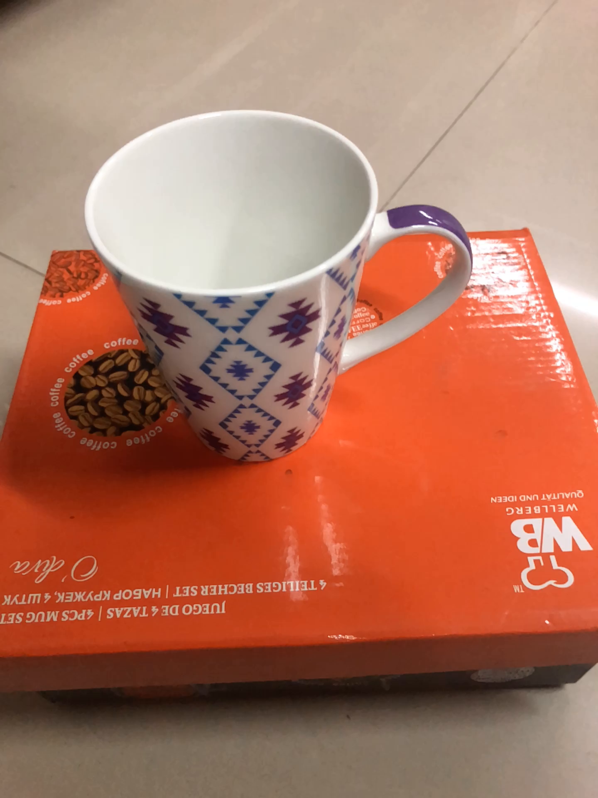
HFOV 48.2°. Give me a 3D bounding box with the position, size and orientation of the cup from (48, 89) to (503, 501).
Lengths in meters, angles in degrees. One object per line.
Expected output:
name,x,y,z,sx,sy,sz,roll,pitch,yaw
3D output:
cup,-0.008,-0.030,0.225,0.110,0.099,0.080,-6,55,-2
